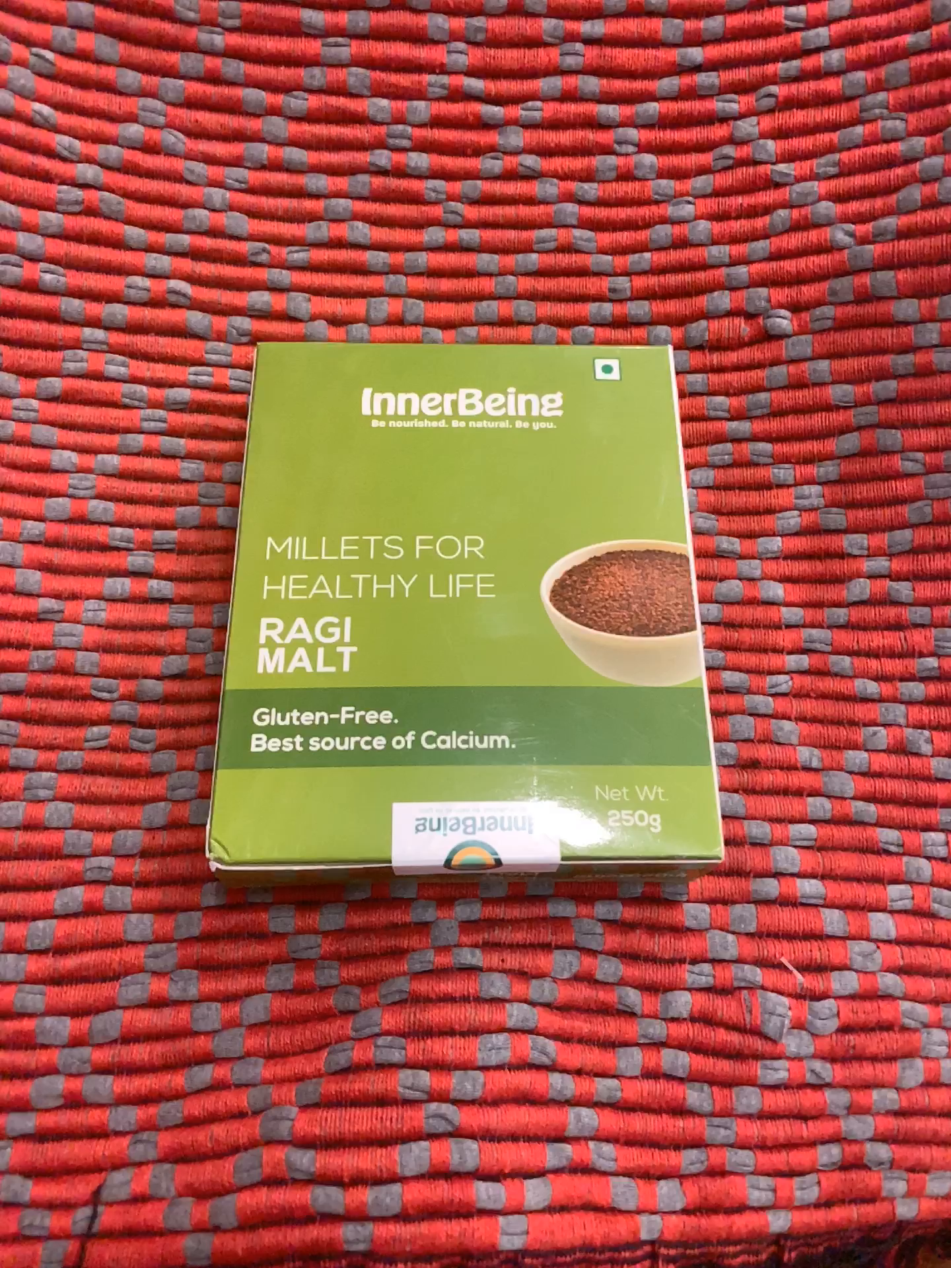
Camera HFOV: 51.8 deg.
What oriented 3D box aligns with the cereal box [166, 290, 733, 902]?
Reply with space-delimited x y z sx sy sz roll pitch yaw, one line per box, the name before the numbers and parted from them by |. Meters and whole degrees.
cereal box | -0.007 -0.014 0.282 0.130 0.050 0.170 0 66 -1
